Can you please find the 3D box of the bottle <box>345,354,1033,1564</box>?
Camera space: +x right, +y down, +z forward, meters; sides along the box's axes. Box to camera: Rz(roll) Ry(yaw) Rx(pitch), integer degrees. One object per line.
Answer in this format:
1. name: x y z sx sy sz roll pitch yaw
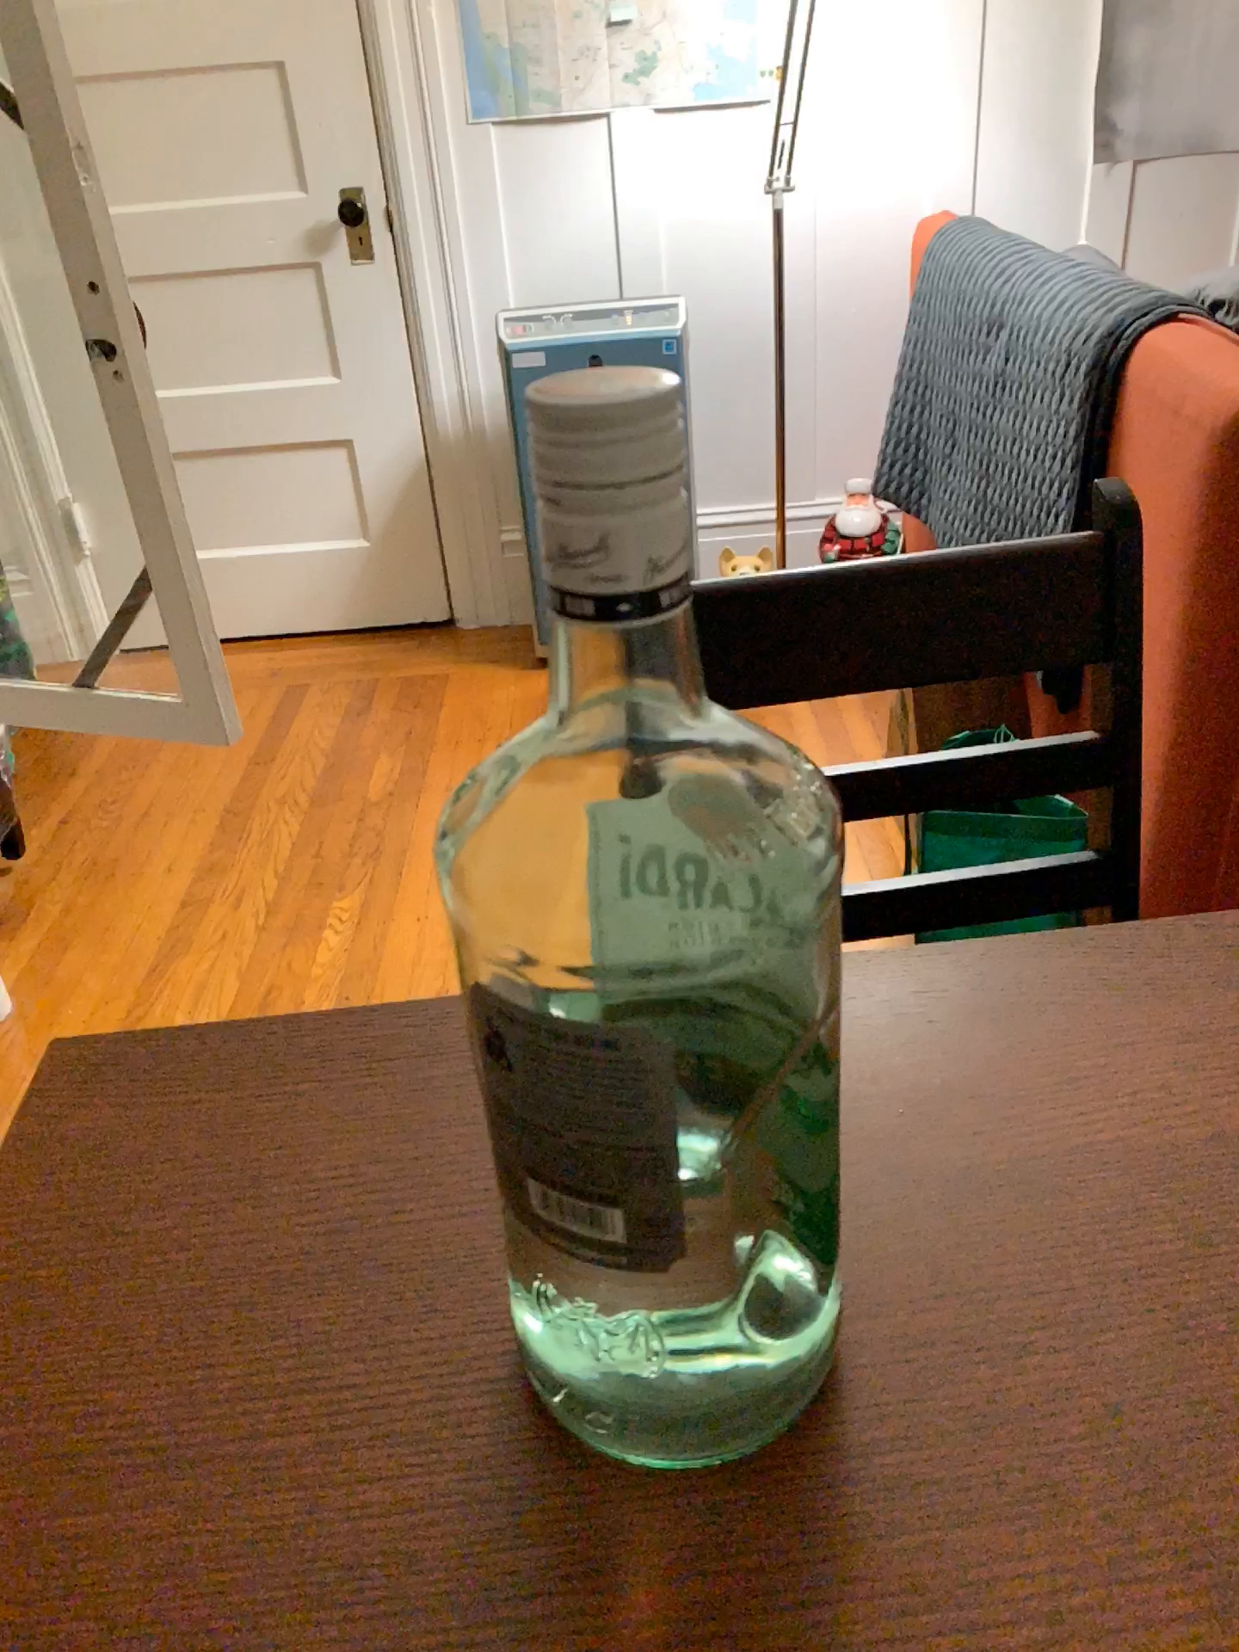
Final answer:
1. bottle: 0.033 0.045 0.377 0.120 0.328 0.120 -4 31 2
